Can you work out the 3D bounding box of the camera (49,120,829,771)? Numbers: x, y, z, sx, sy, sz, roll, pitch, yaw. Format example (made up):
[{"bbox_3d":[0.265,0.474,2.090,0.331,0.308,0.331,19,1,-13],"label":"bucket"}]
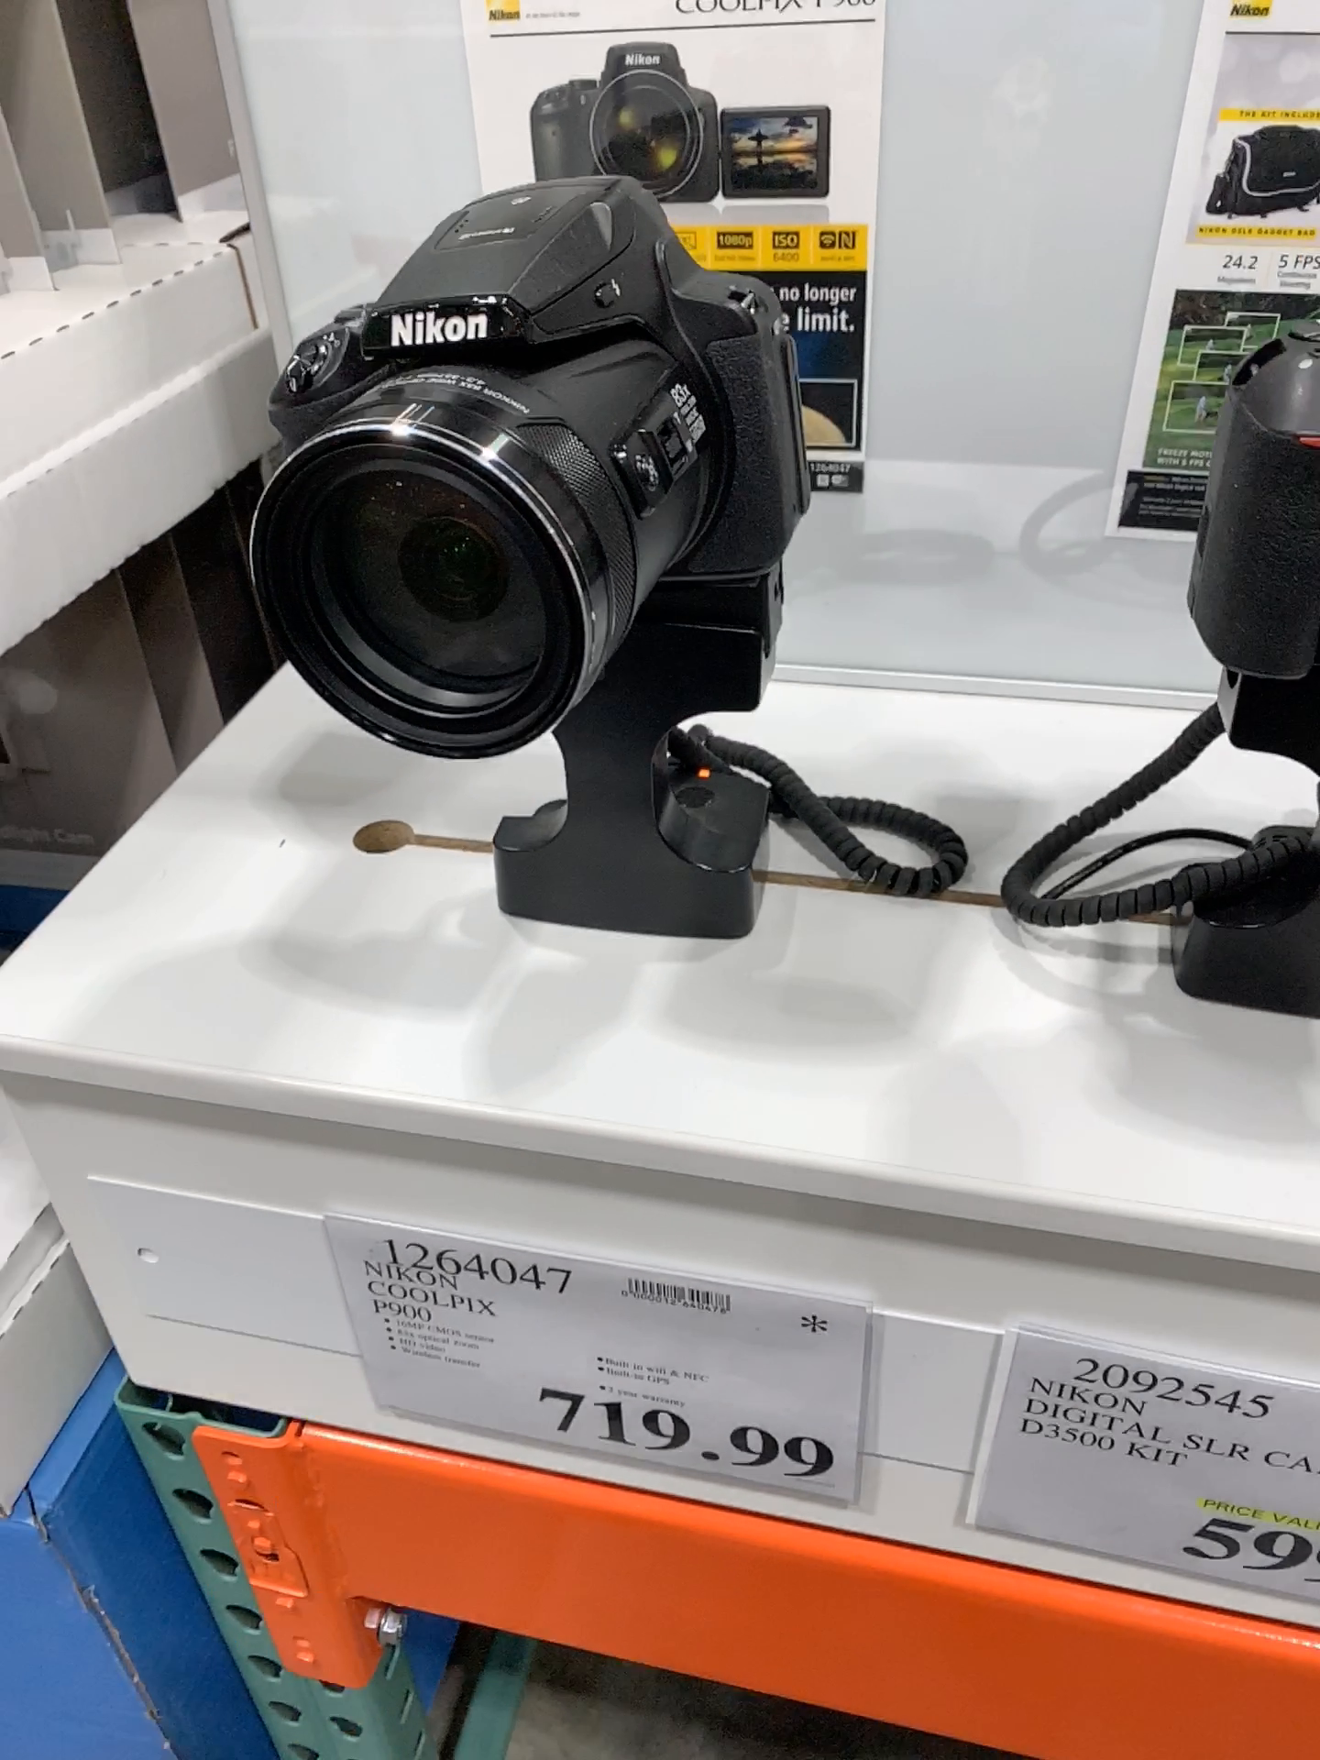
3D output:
[{"bbox_3d":[-0.038,-0.117,0.353,0.130,0.109,0.151,4,37,18],"label":"camera"}]
